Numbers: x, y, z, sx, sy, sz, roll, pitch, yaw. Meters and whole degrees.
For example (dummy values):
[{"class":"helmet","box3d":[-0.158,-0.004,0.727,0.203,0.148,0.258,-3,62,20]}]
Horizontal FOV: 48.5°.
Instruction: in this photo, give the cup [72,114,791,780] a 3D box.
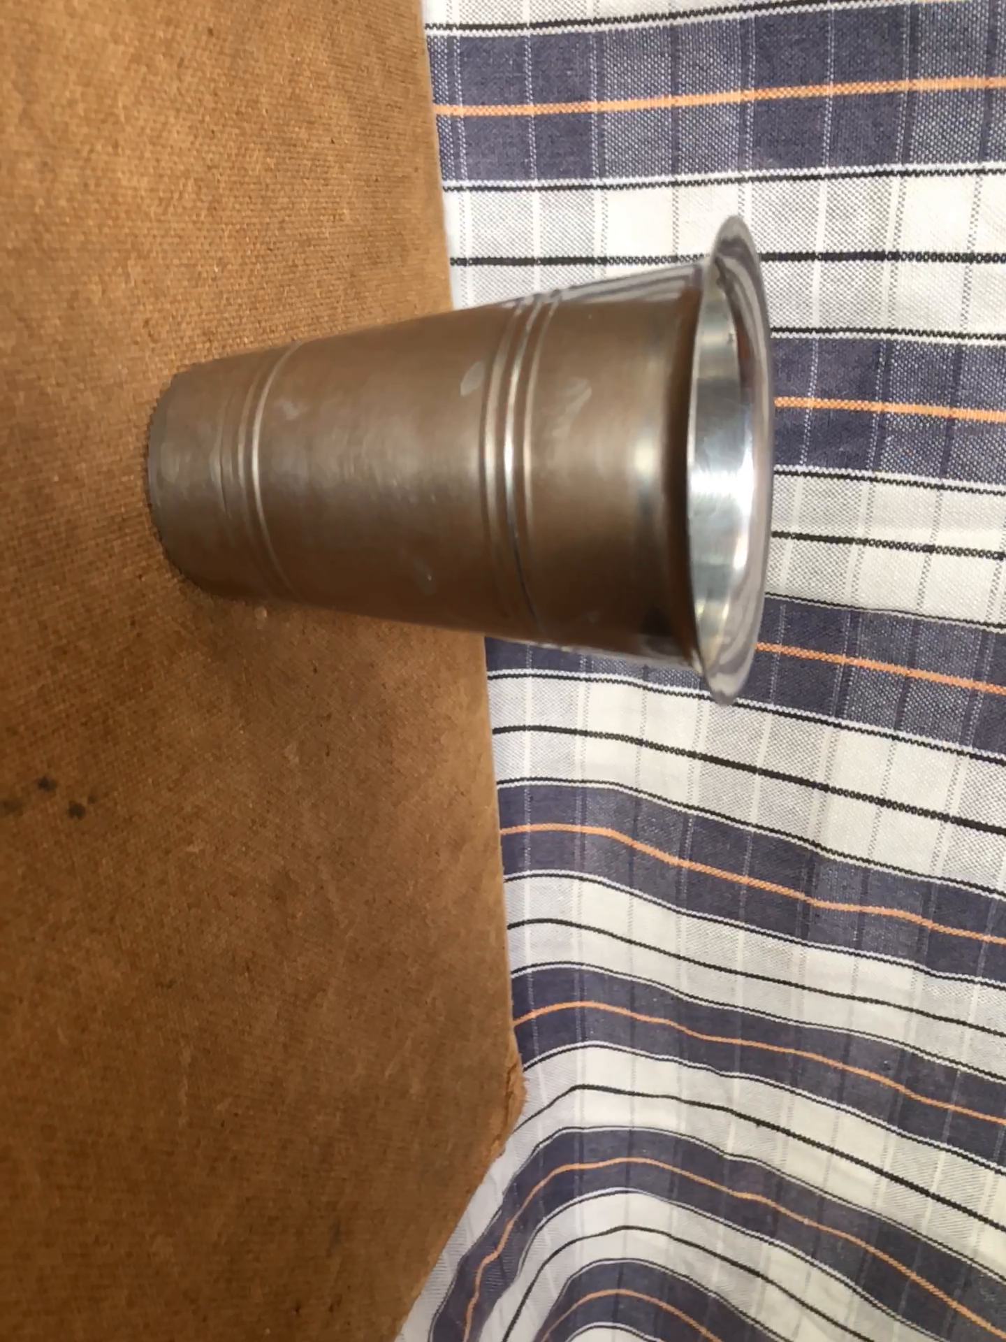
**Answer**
[{"class":"cup","box3d":[-0.002,-0.027,0.196,0.091,0.089,0.080,25,68,-68]}]
